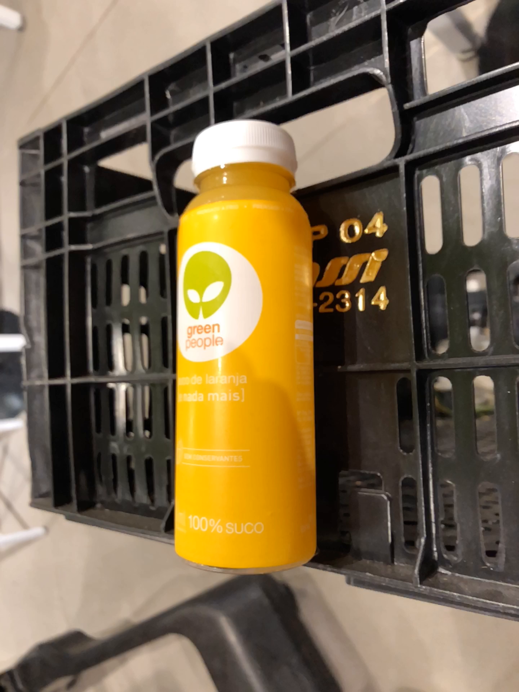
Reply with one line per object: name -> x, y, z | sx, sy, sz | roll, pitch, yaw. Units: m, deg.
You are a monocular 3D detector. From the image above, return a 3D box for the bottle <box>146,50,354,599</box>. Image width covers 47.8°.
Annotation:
bottle -> -0.003, -0.007, 0.228 | 0.060, 0.050, 0.180 | -5, 82, 40
